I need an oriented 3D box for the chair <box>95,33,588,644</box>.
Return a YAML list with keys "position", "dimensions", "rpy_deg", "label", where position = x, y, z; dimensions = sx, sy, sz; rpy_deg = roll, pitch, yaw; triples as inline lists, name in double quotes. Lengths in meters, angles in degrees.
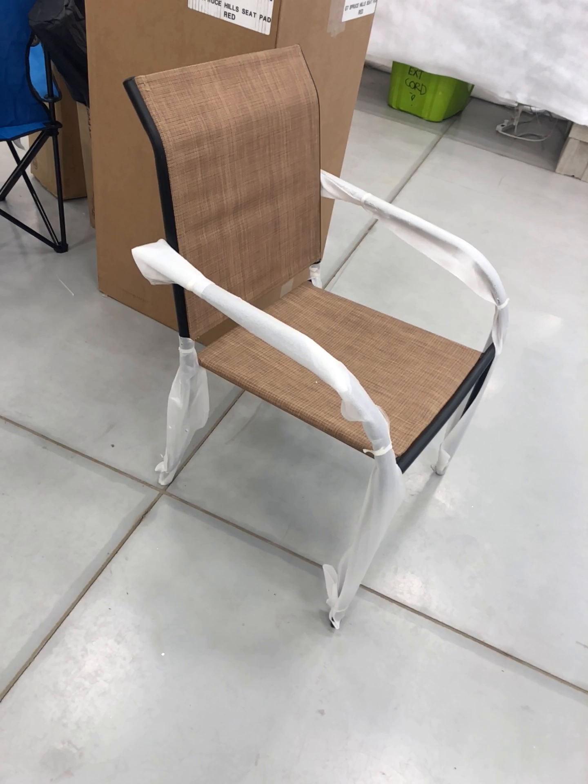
- position: [0.073, -0.122, 1.311]
  dimensions: [0.630, 0.876, 0.622]
  rpy_deg: [30, 44, 19]
  label: "chair"
